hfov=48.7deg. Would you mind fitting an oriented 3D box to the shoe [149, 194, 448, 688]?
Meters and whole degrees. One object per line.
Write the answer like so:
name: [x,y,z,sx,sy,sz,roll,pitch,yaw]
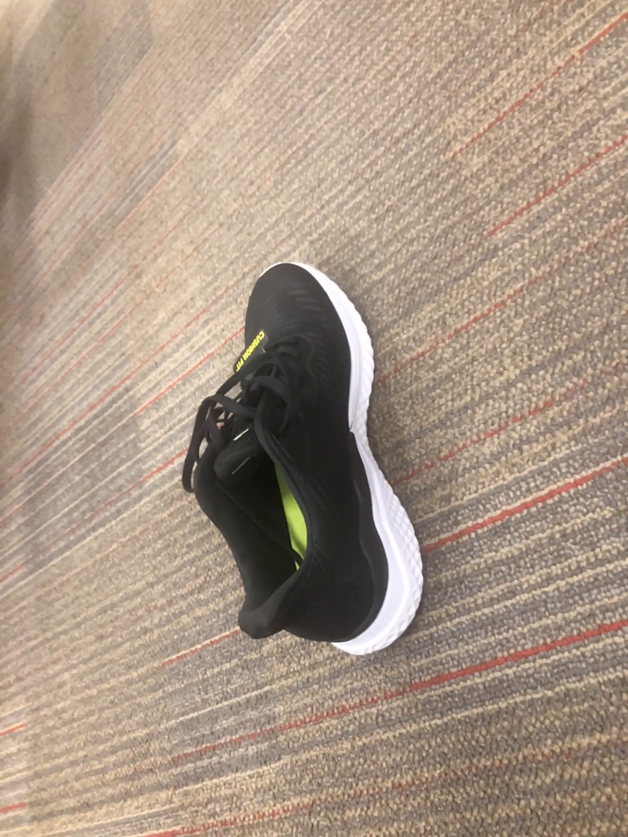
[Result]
shoe: [-0.024,0.014,0.469,0.120,0.100,0.290,-31,58,35]
